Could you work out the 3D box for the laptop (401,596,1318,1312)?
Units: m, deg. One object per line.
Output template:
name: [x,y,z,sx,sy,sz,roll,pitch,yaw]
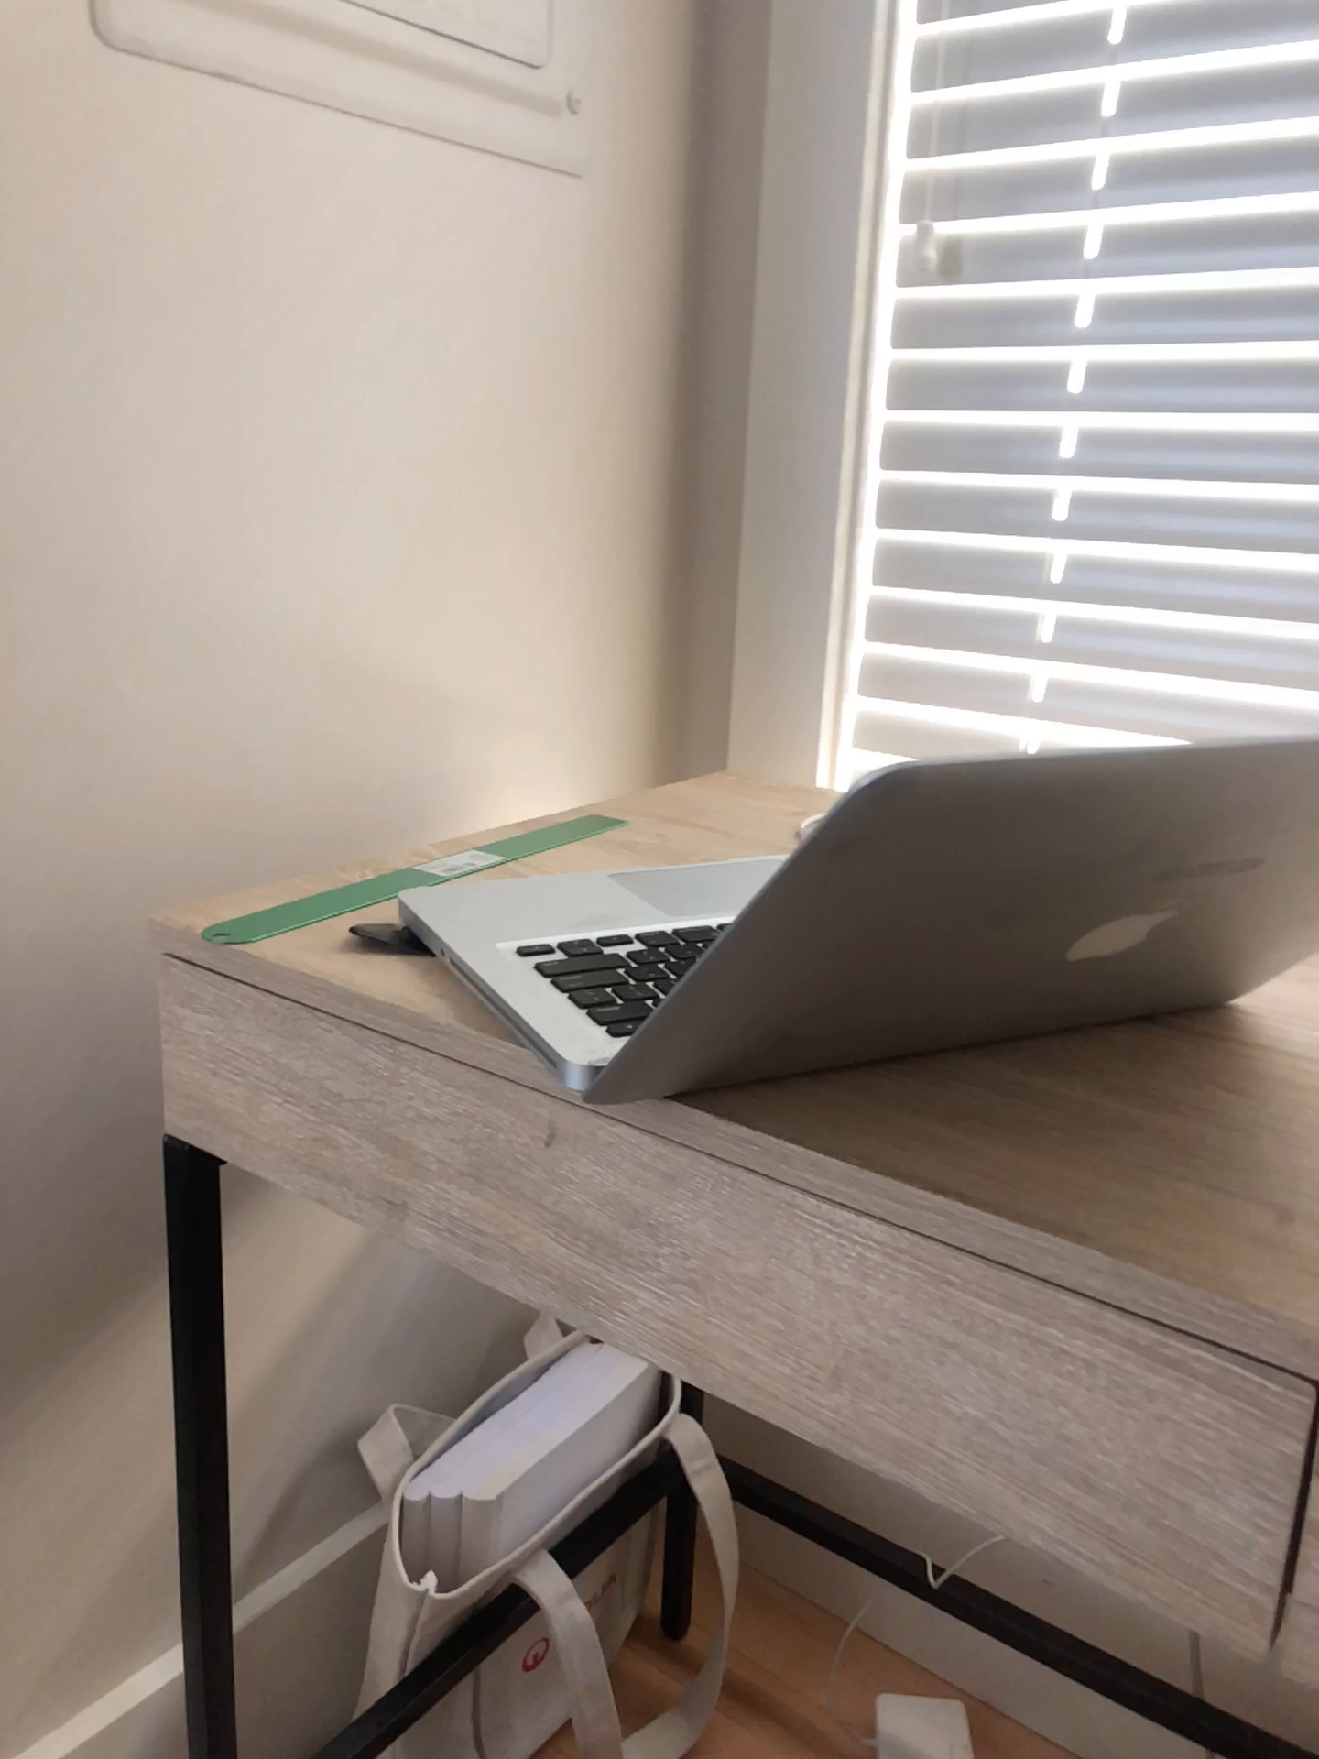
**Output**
laptop: [0.108,-0.020,0.565,0.320,0.133,0.346,-6,19,-27]
